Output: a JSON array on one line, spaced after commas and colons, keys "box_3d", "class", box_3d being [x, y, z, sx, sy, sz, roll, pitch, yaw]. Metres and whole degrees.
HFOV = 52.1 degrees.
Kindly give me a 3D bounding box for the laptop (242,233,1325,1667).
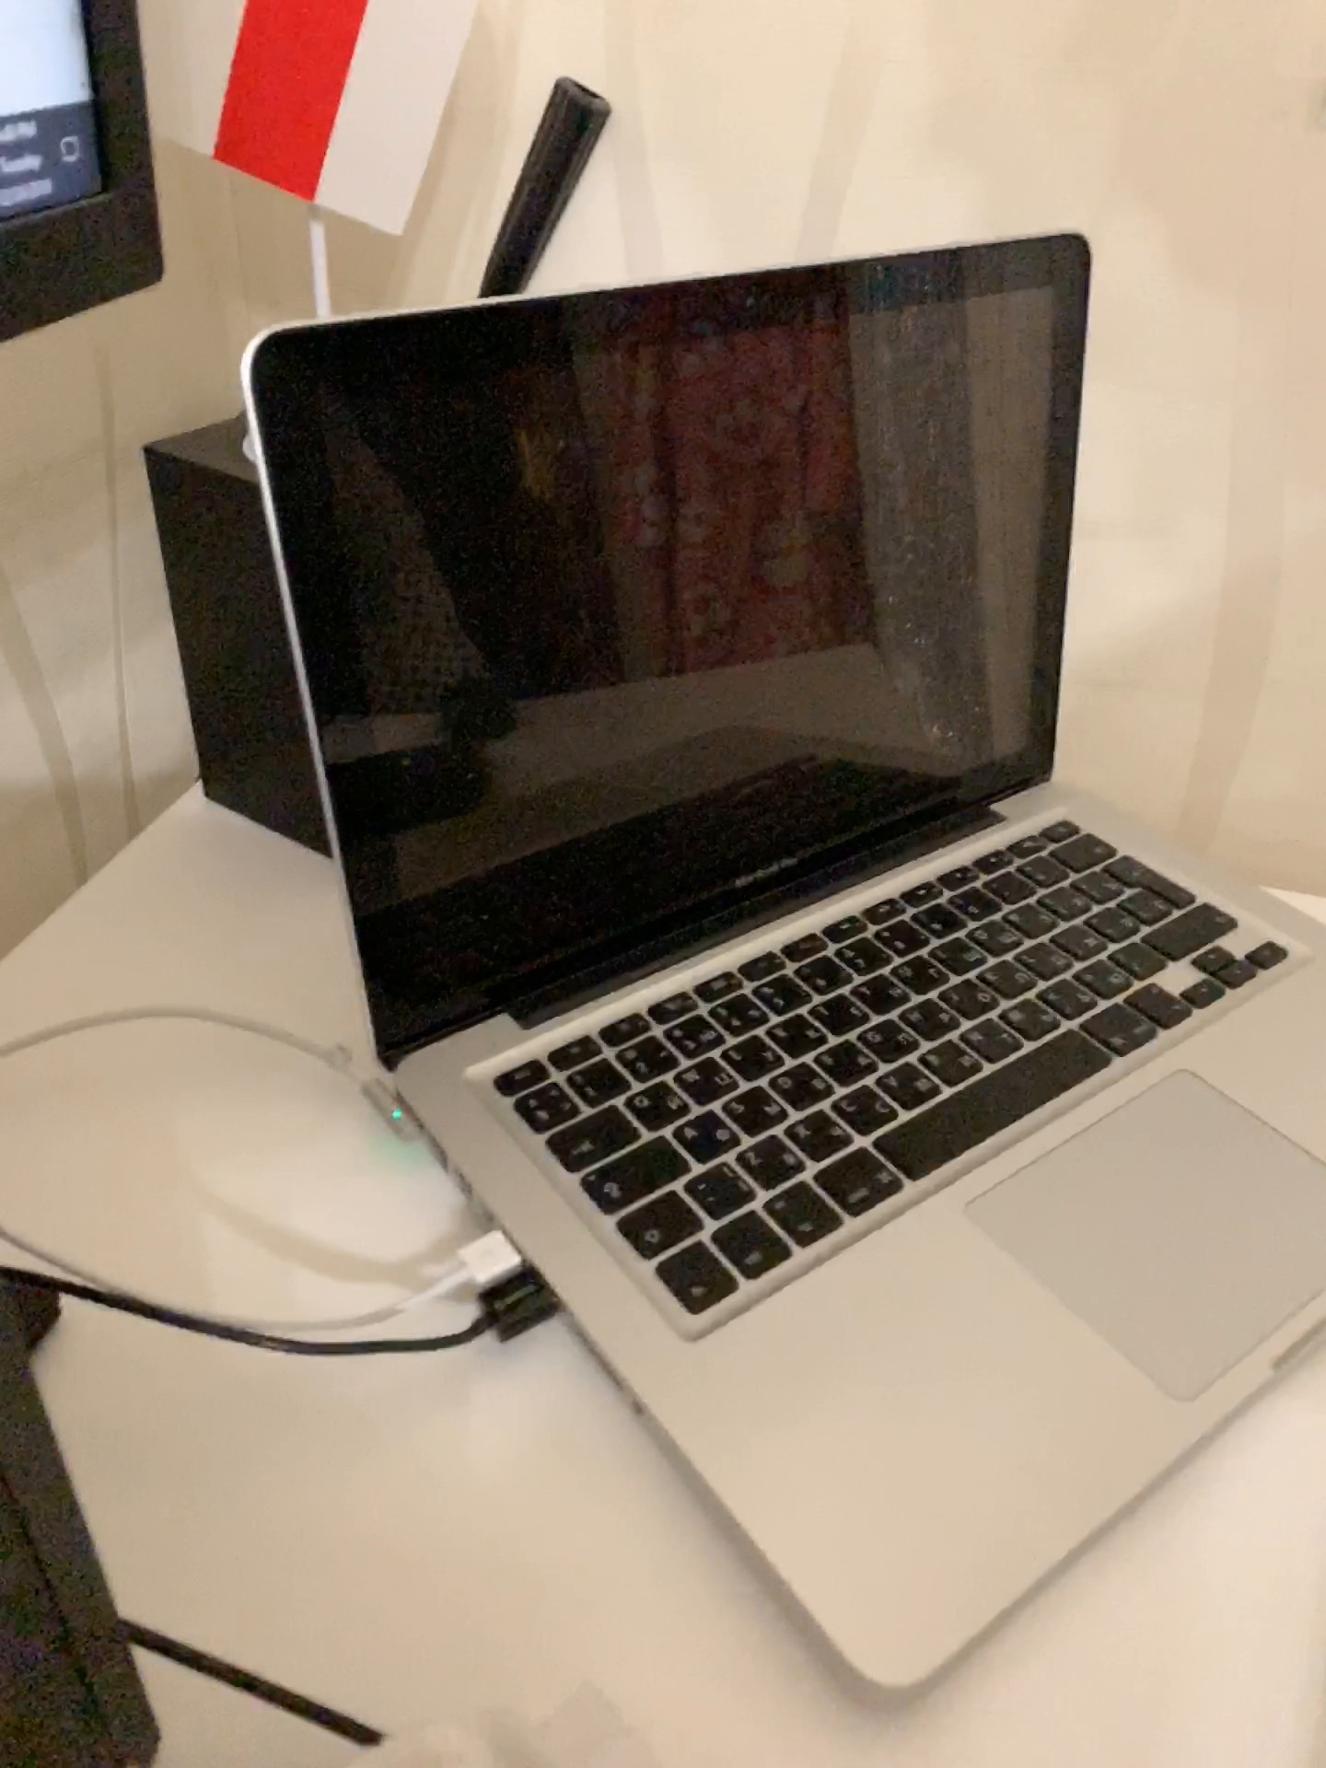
[{"box_3d": [0.092, -0.036, 0.373, 0.301, 0.196, 0.250, -22, 42, -31], "class": "laptop"}]
